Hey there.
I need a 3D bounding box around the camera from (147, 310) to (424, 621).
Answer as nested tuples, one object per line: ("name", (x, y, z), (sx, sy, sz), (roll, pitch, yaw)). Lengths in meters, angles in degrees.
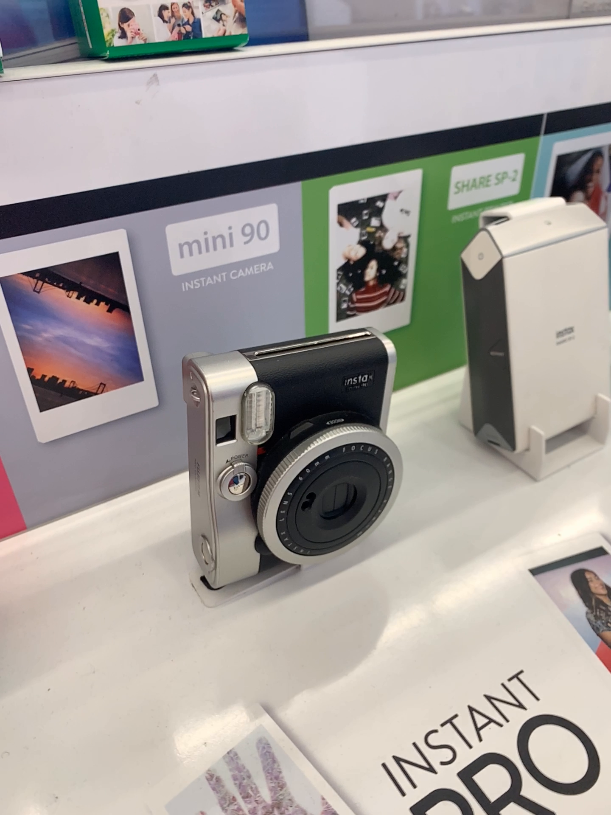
("camera", (-0.010, 0.024, 0.287), (0.100, 0.109, 0.050), (-13, 36, -23))
